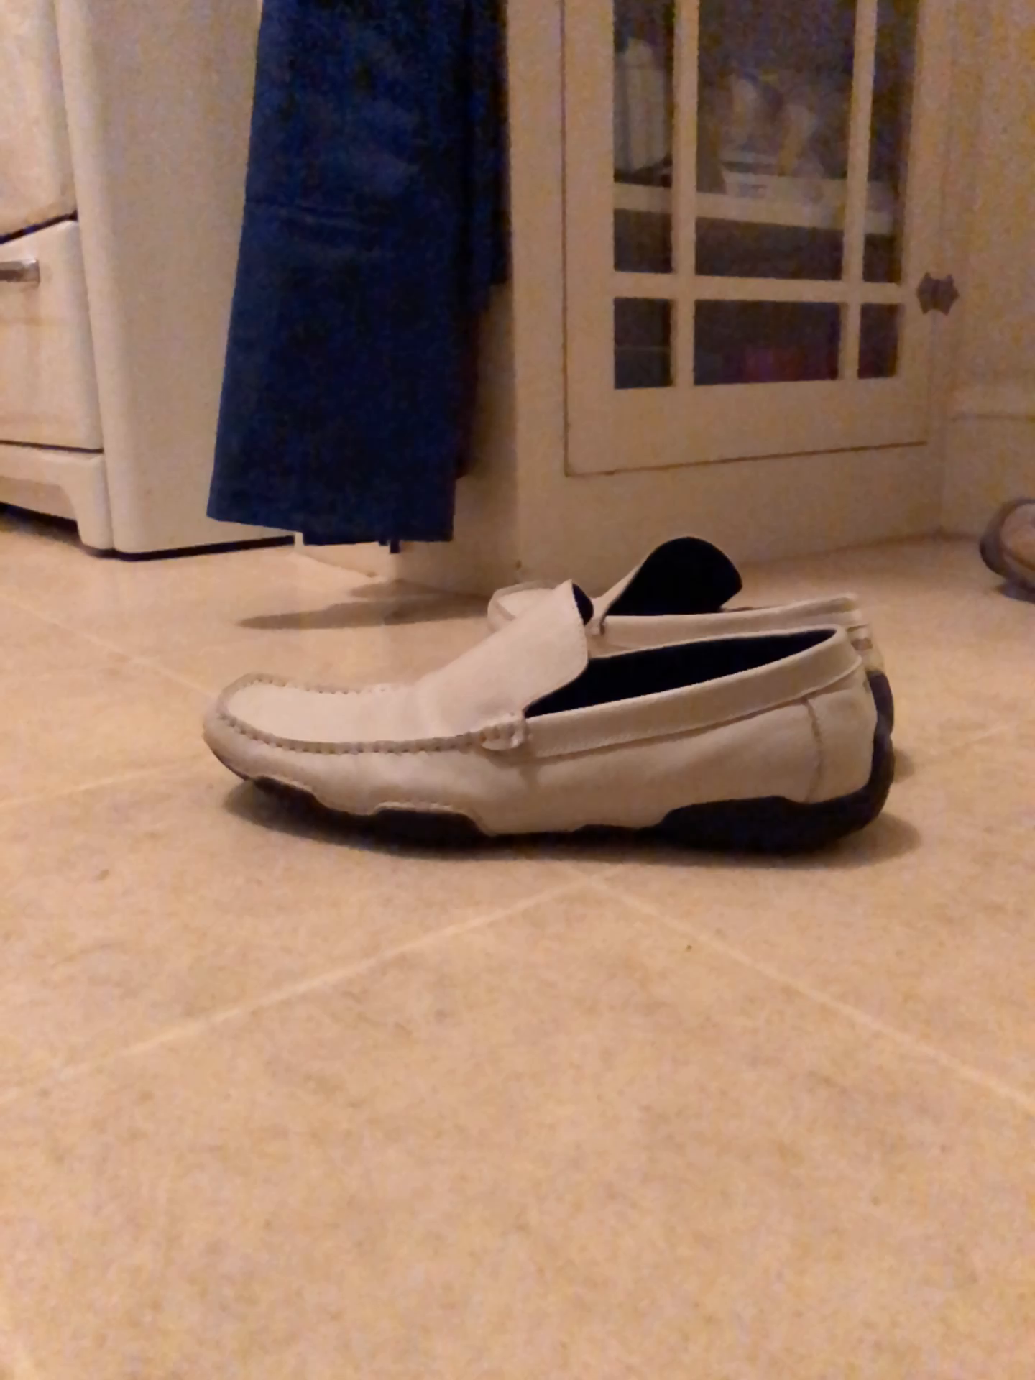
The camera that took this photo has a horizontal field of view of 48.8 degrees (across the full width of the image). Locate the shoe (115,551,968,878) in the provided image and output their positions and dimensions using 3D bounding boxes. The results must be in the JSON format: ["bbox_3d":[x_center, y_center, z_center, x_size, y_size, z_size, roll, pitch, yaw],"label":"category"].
[{"bbox_3d":[0.009,0.001,0.470,0.306,0.097,0.111,2,15,9],"label":"shoe"}]

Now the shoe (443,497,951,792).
[{"bbox_3d":[0.076,-0.043,0.625,0.111,0.097,0.290,-9,17,-30],"label":"shoe"}]
